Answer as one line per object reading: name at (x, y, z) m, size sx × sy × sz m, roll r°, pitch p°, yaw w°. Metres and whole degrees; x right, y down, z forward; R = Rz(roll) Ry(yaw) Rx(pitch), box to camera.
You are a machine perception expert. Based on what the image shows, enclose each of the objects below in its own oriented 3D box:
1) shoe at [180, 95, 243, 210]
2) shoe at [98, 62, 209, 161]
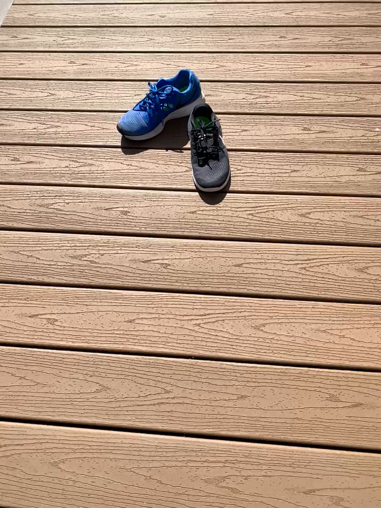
shoe at (0.049, -0.274, 1.033) m, size 0.120 × 0.110 × 0.291 m, roll -7°, pitch 60°, yaw -1°
shoe at (-0.099, -0.420, 1.141) m, size 0.290 × 0.130 × 0.120 m, roll -32°, pitch 63°, yaw -14°
